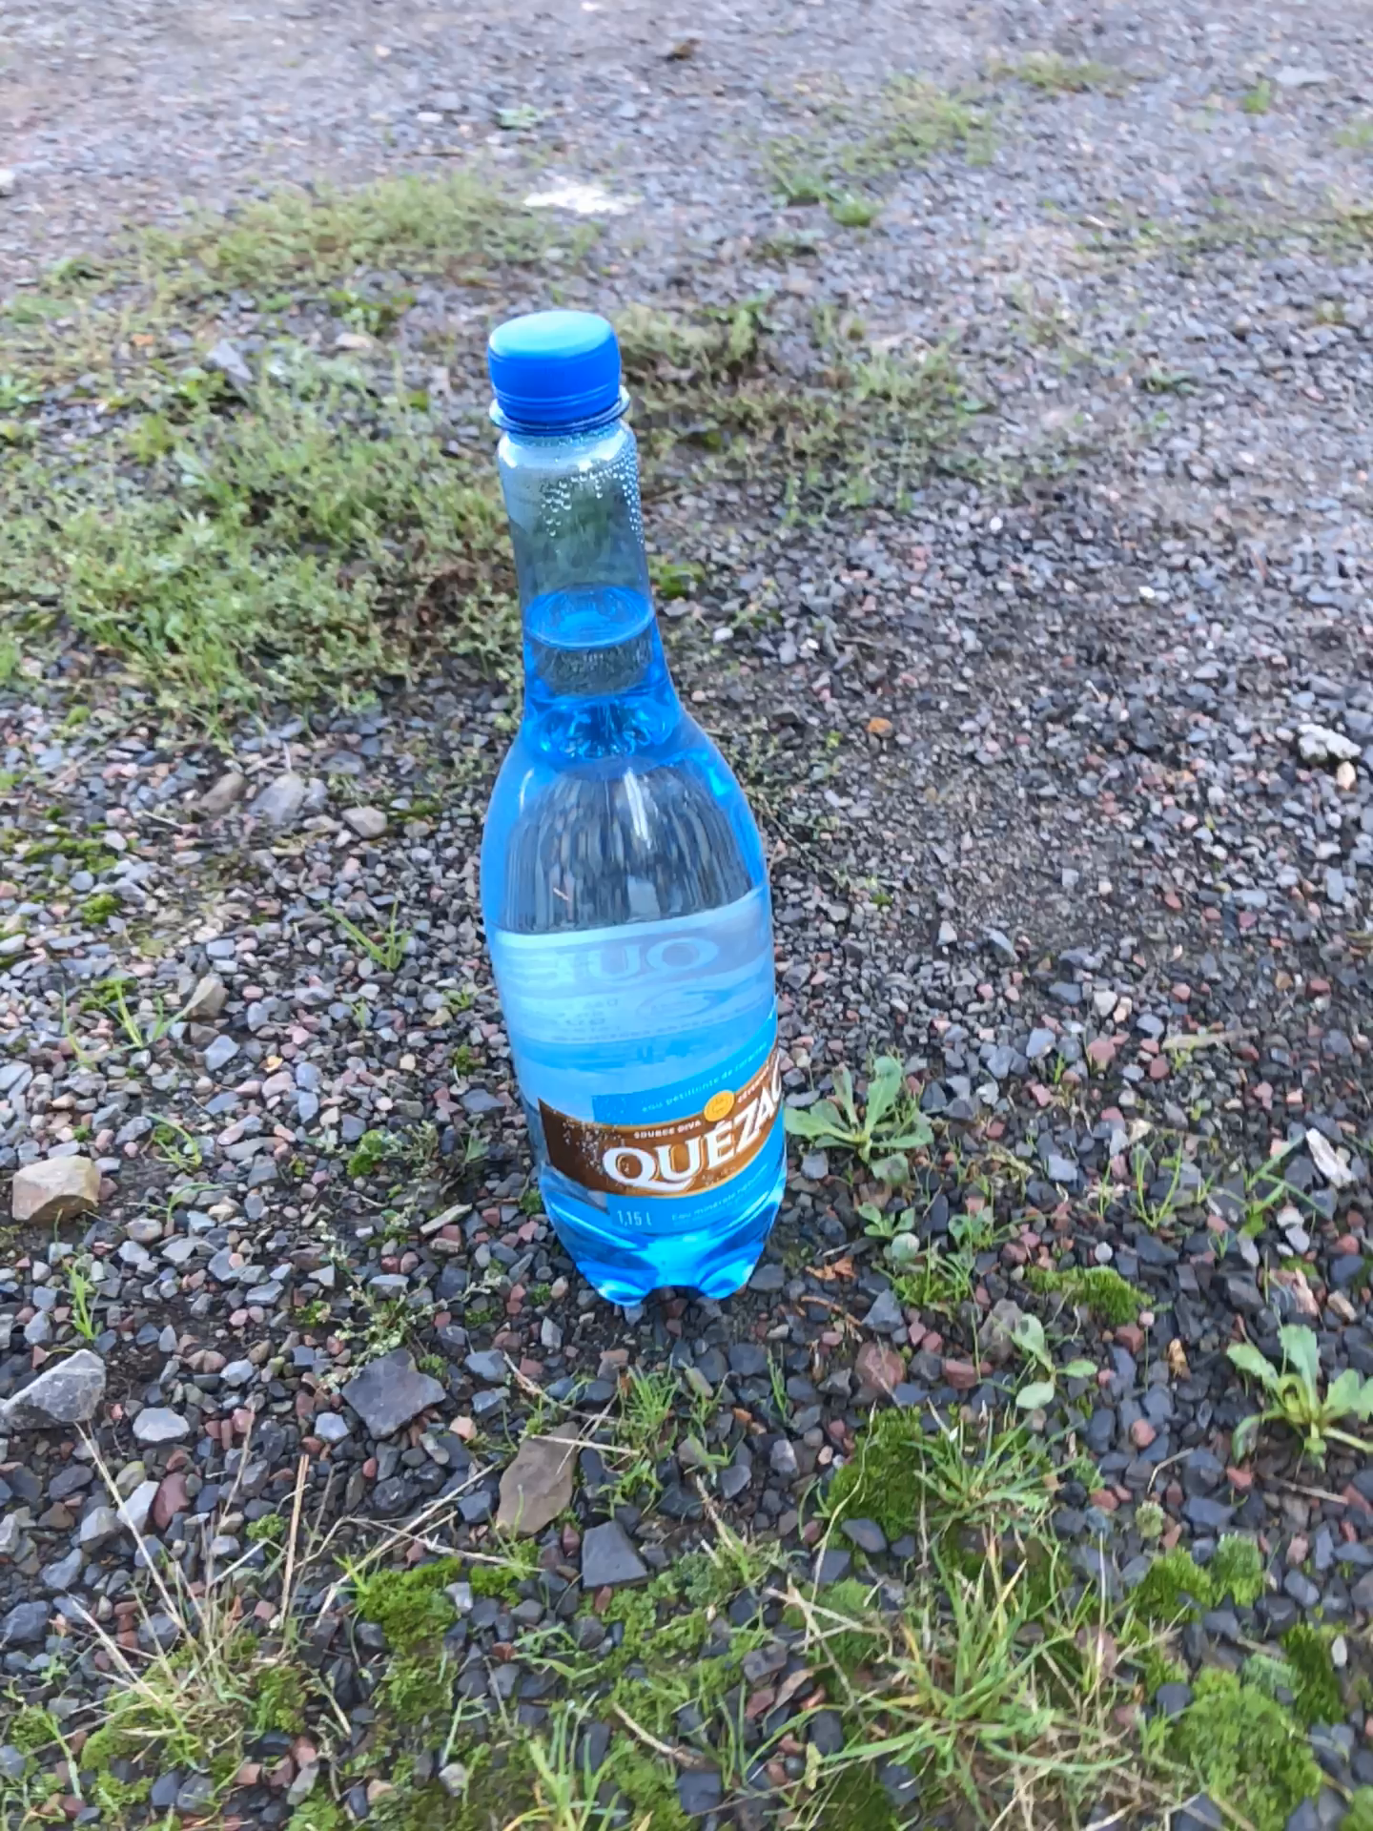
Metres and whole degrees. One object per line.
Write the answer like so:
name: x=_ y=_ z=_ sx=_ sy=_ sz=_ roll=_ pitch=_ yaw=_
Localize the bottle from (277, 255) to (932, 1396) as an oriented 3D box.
bottle: x=-0.017 y=-0.010 z=0.437 sx=0.110 sy=0.298 sz=0.110 roll=-1 pitch=41 yaw=1
